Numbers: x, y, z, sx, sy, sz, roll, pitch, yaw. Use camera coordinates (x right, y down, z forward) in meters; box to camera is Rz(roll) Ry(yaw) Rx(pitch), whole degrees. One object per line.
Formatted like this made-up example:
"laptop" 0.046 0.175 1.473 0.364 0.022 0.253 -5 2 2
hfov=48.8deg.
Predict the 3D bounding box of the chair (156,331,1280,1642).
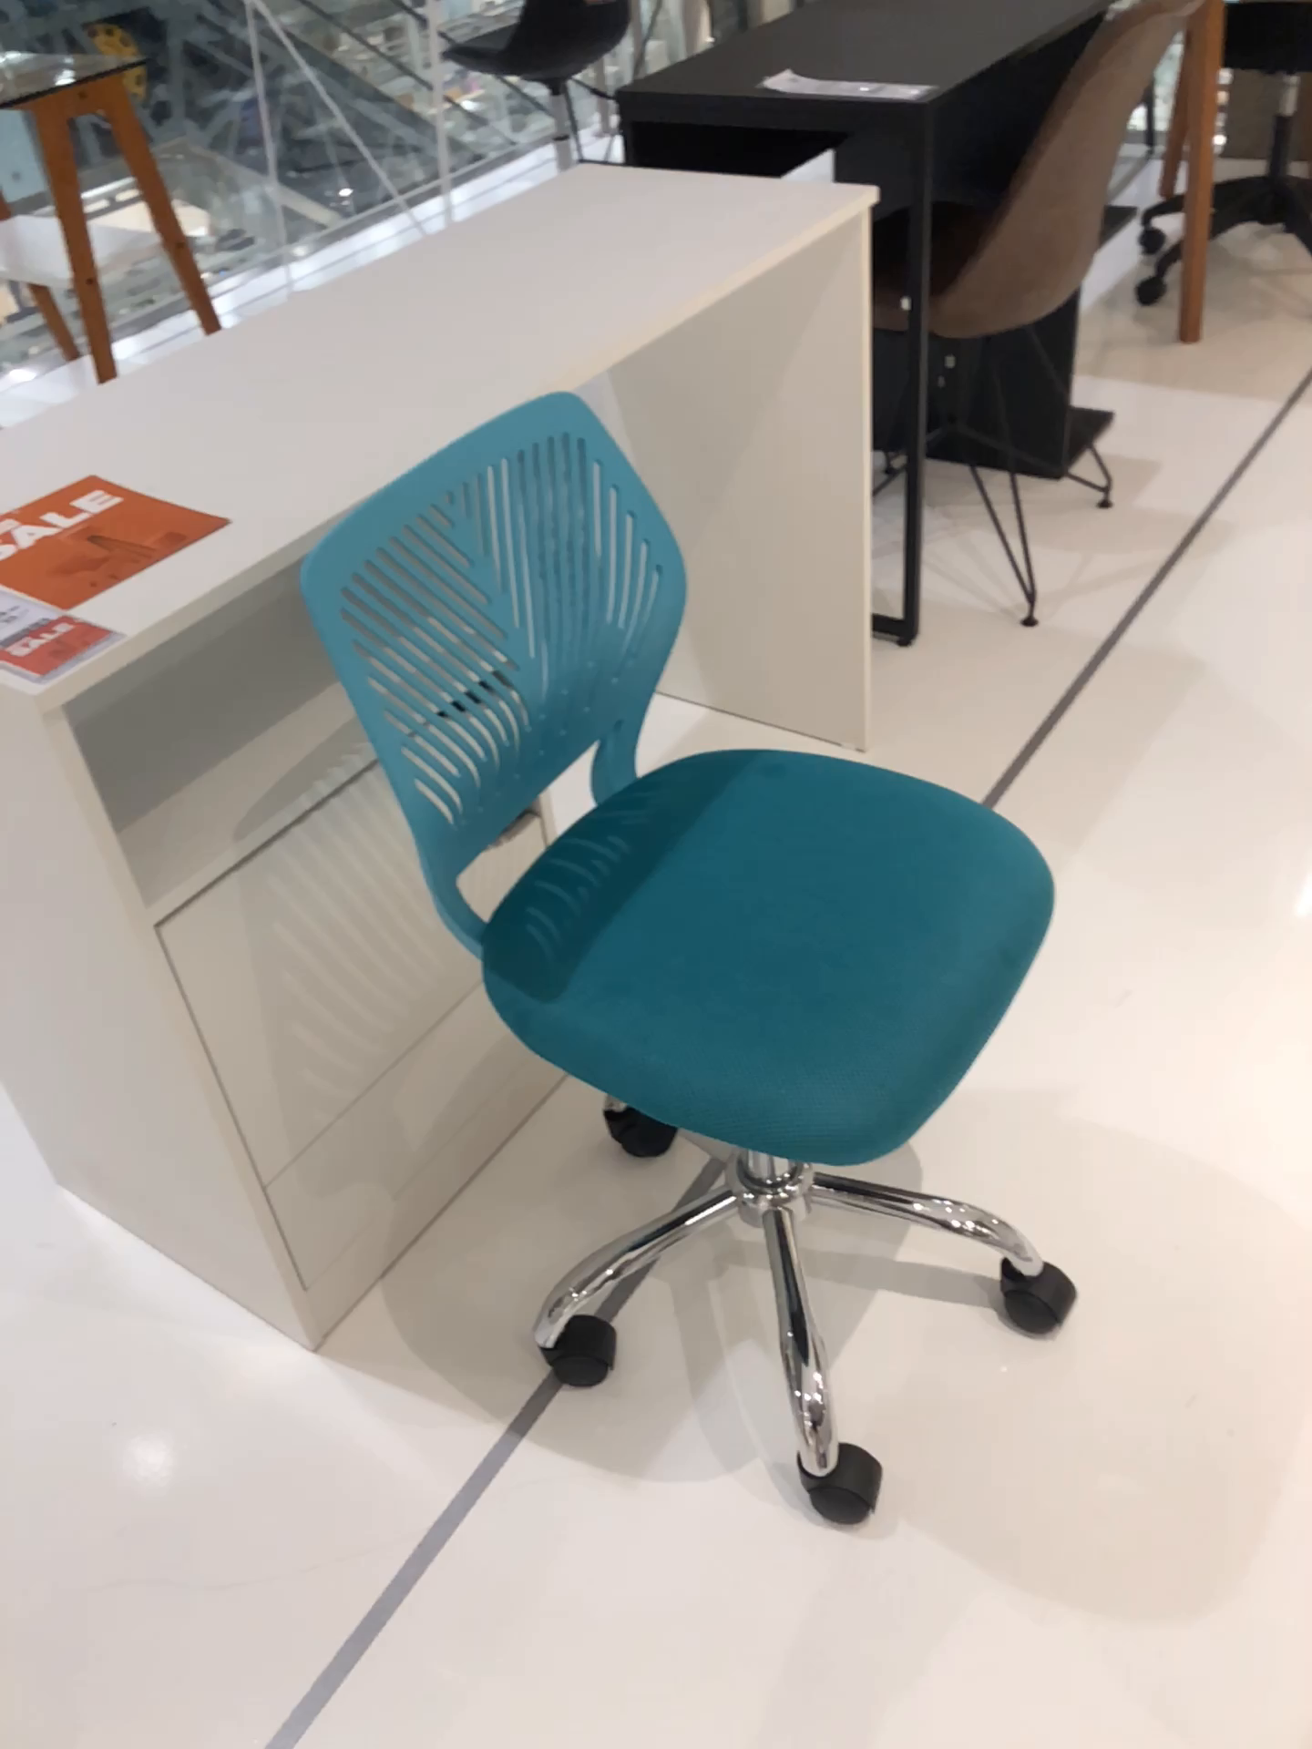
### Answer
"chair" 0.093 0.057 1.092 0.501 0.725 0.503 16 43 28
